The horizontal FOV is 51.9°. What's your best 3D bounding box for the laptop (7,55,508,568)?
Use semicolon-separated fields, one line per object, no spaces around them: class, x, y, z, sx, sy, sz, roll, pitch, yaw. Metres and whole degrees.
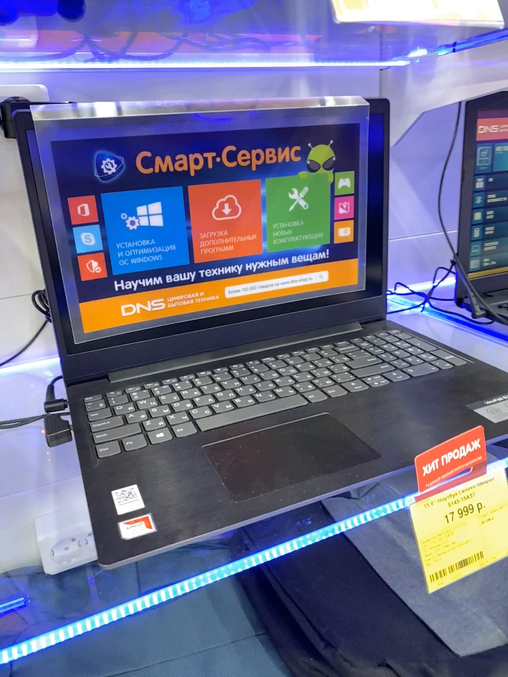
laptop;0.030;-0.063;0.408;0.361;0.239;0.258;-11;21;-20
